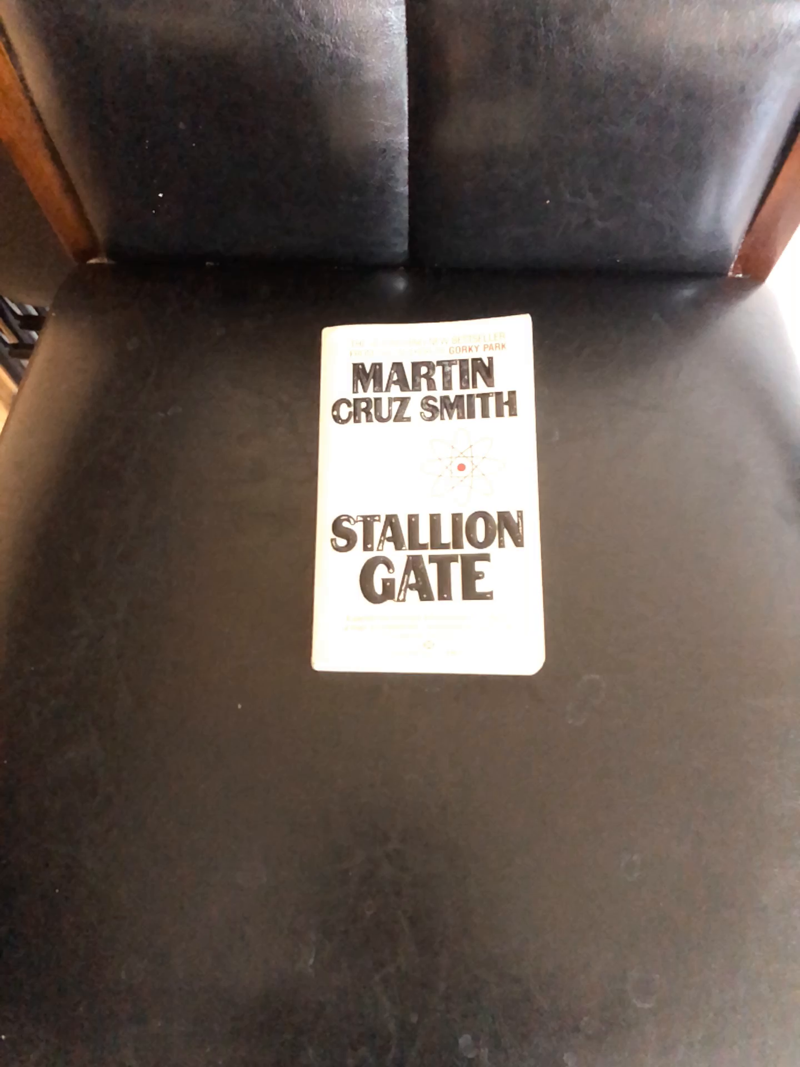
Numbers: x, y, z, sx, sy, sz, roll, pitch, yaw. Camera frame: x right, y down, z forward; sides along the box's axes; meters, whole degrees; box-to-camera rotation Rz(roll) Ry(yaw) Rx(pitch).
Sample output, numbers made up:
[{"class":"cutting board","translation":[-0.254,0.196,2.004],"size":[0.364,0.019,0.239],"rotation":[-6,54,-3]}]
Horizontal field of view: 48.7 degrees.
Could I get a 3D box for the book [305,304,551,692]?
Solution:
[{"class":"book","translation":[0.014,-0.020,0.436],"size":[0.110,0.030,0.190],"rotation":[0,74,2]}]
